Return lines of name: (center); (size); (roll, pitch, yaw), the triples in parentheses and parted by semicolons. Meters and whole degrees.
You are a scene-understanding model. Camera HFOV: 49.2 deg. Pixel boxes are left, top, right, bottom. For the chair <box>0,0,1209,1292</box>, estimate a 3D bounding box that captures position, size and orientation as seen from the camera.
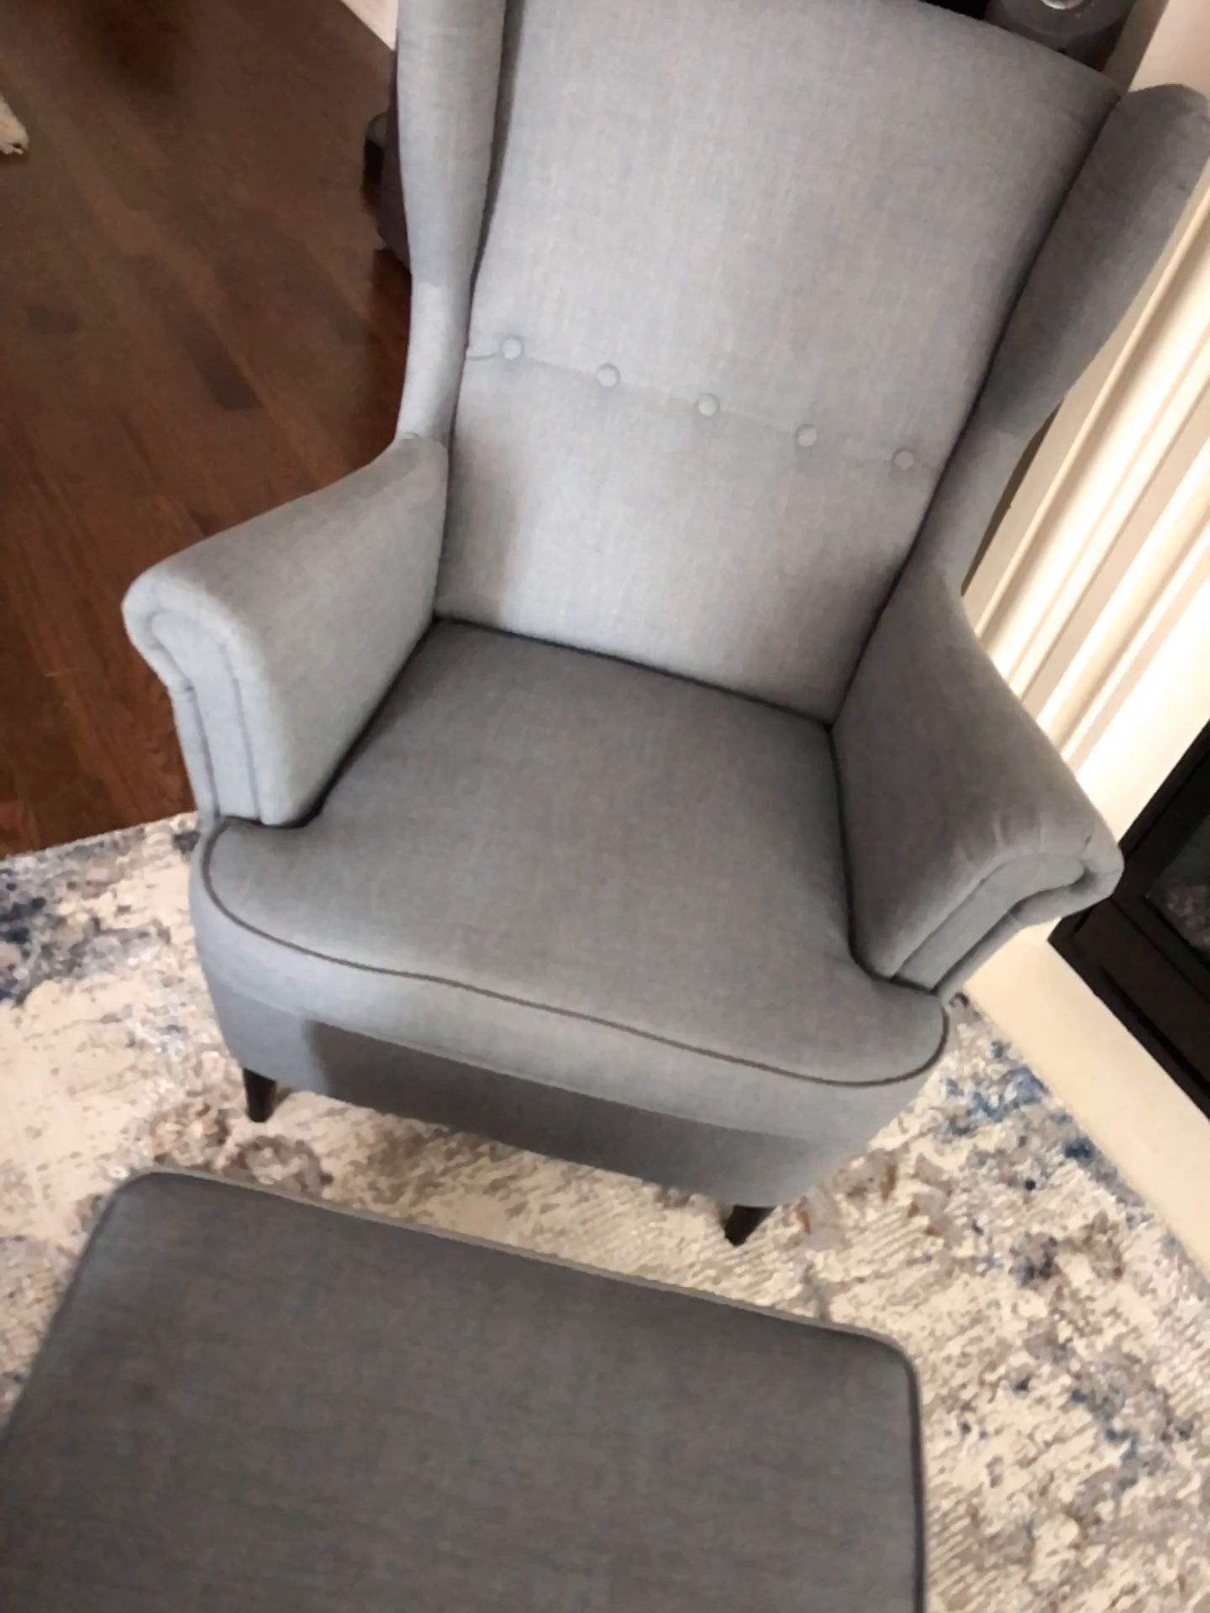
chair: (0.028, -0.225, 1.289); (0.800, 0.966, 0.853); (14, 45, -3)
